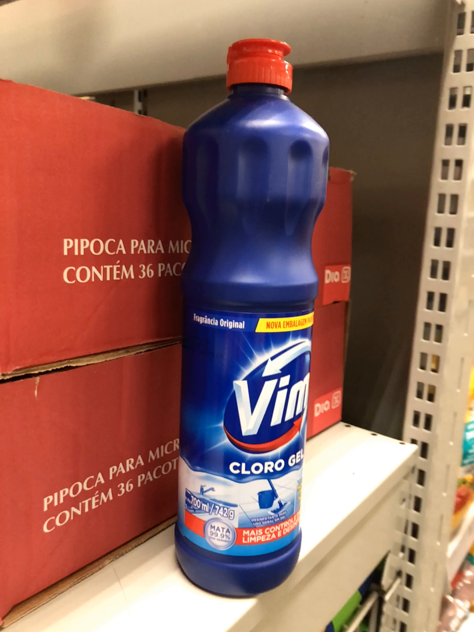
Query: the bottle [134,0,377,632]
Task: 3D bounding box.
[{"bbox_3d":[0.002,0.002,0.225,0.070,0.229,0.060,-7,15,-35],"label":"bottle"}]
